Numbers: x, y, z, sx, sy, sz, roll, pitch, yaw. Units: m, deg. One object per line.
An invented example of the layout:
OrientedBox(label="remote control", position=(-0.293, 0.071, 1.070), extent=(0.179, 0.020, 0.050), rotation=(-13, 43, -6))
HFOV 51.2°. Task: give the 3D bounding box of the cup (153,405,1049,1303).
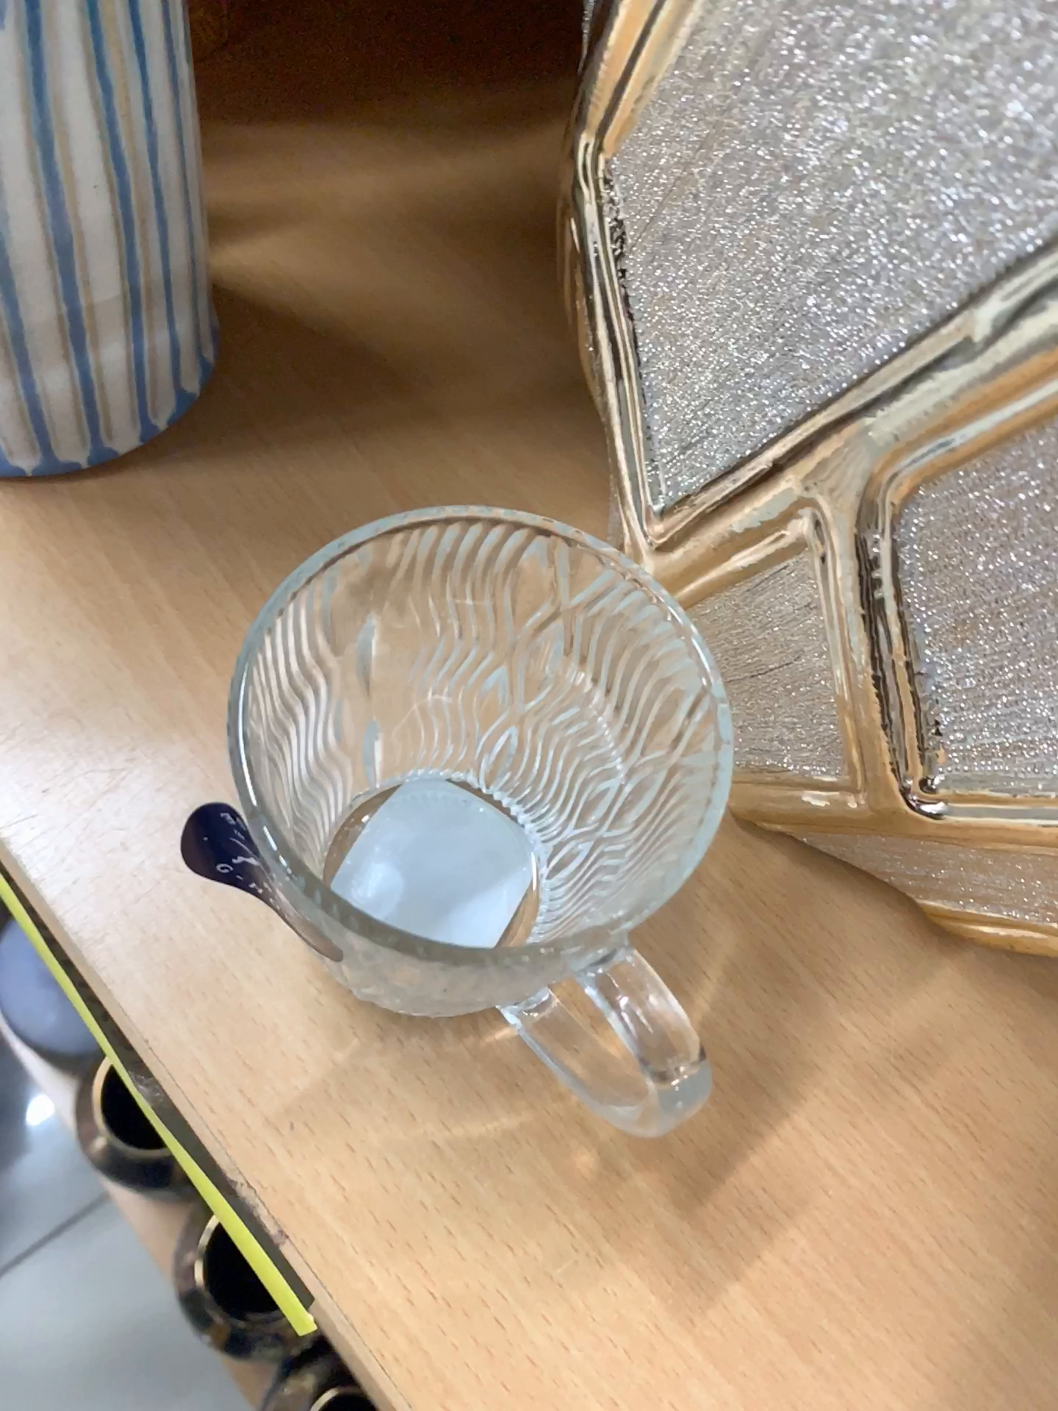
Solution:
OrientedBox(label="cup", position=(0.004, 0.024, 0.173), extent=(0.070, 0.070, 0.100), rotation=(-35, 75, -26))
